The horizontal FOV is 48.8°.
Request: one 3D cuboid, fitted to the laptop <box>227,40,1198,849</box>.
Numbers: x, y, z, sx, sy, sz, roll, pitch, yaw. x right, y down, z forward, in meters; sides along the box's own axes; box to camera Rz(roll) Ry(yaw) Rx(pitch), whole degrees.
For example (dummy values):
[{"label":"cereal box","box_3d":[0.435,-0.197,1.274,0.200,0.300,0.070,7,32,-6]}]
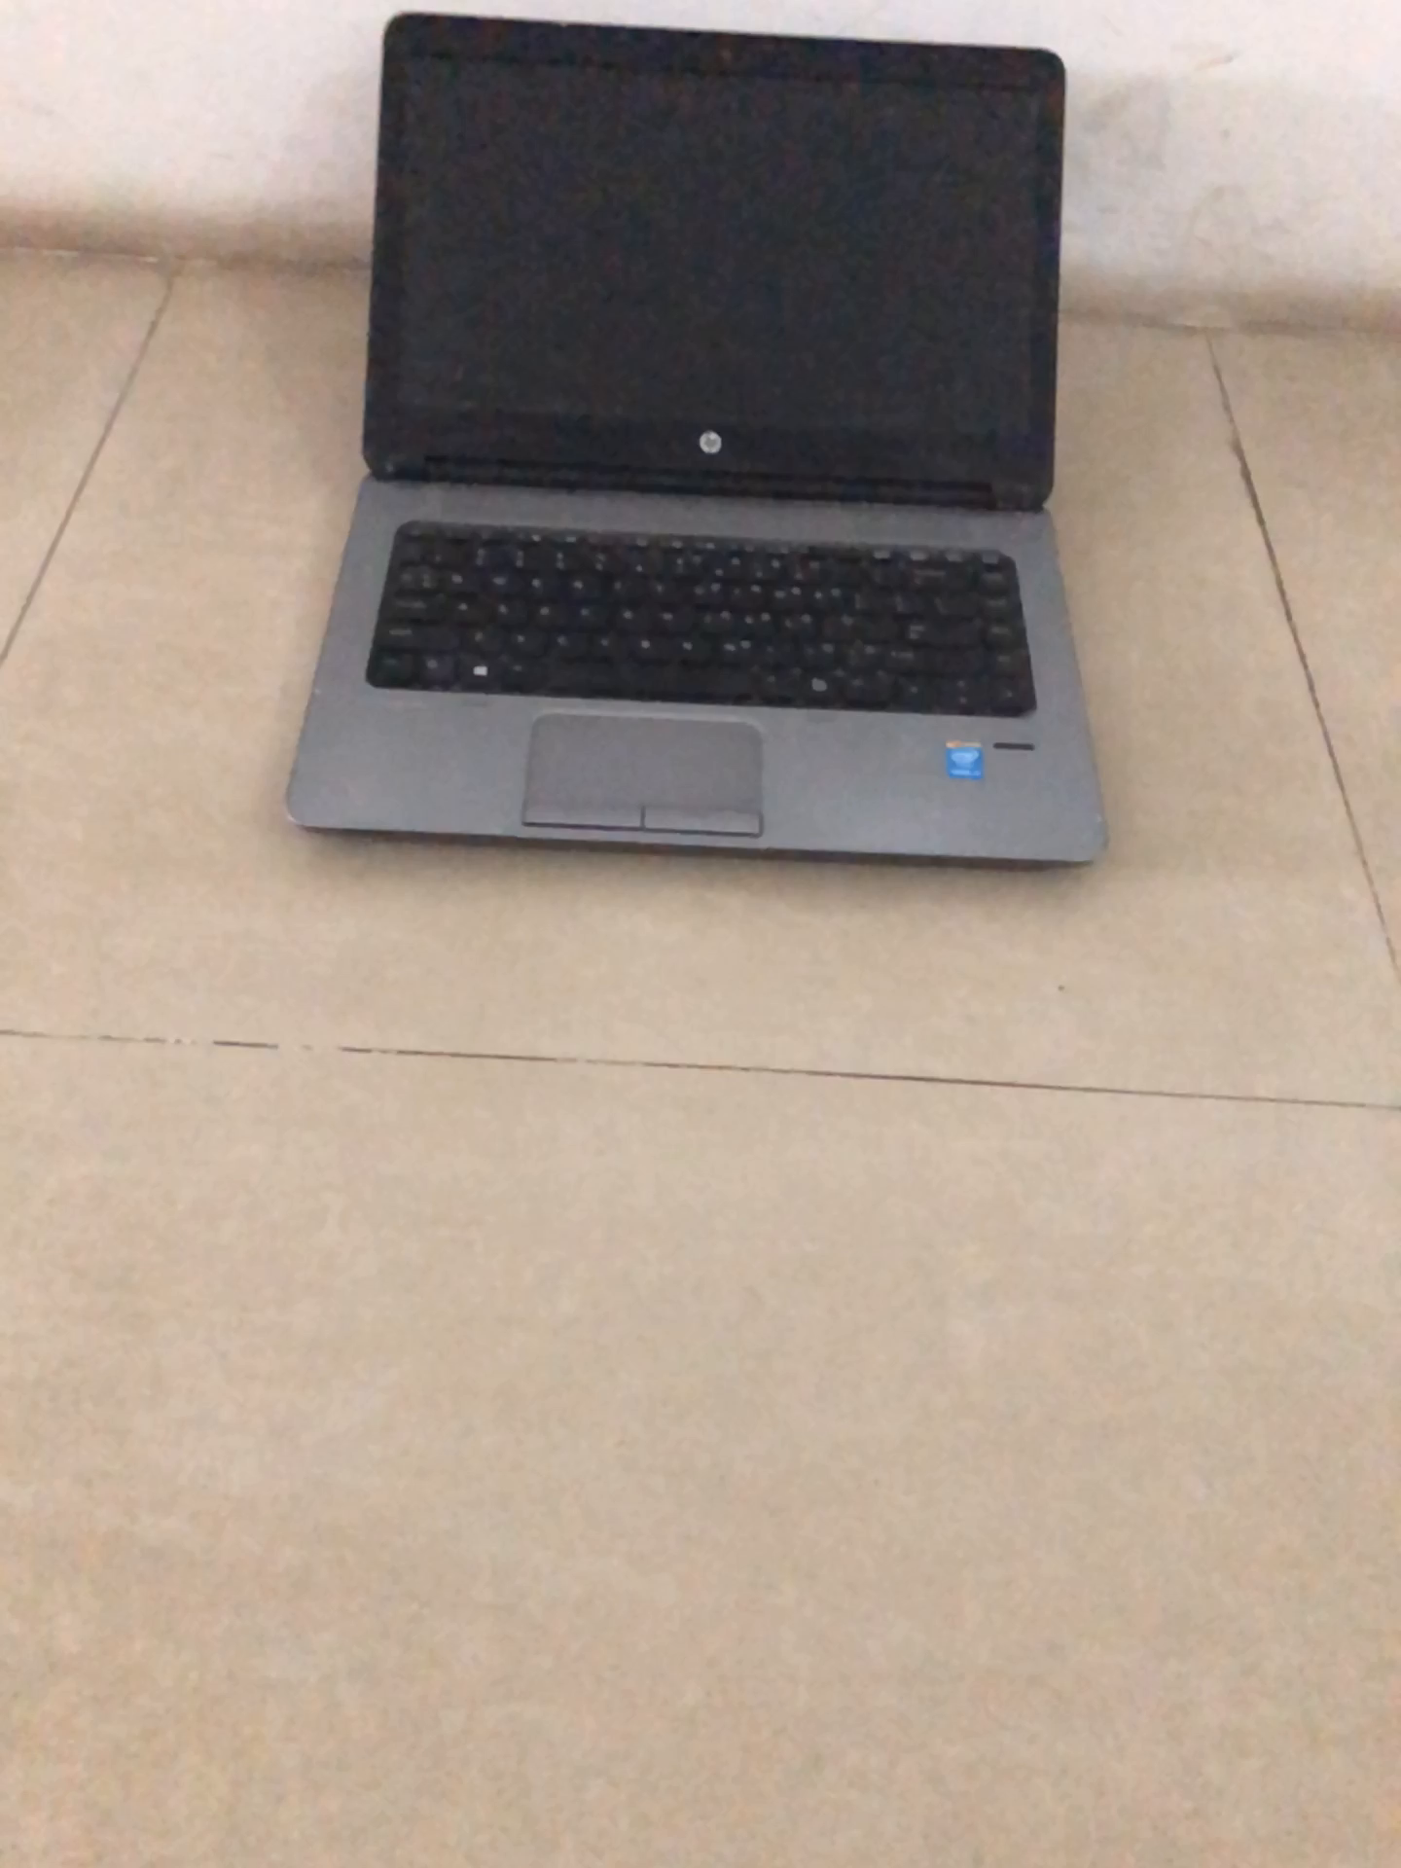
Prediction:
[{"label":"laptop","box_3d":[0.007,-0.234,0.686,0.318,0.146,0.387,3,50,-1]}]
